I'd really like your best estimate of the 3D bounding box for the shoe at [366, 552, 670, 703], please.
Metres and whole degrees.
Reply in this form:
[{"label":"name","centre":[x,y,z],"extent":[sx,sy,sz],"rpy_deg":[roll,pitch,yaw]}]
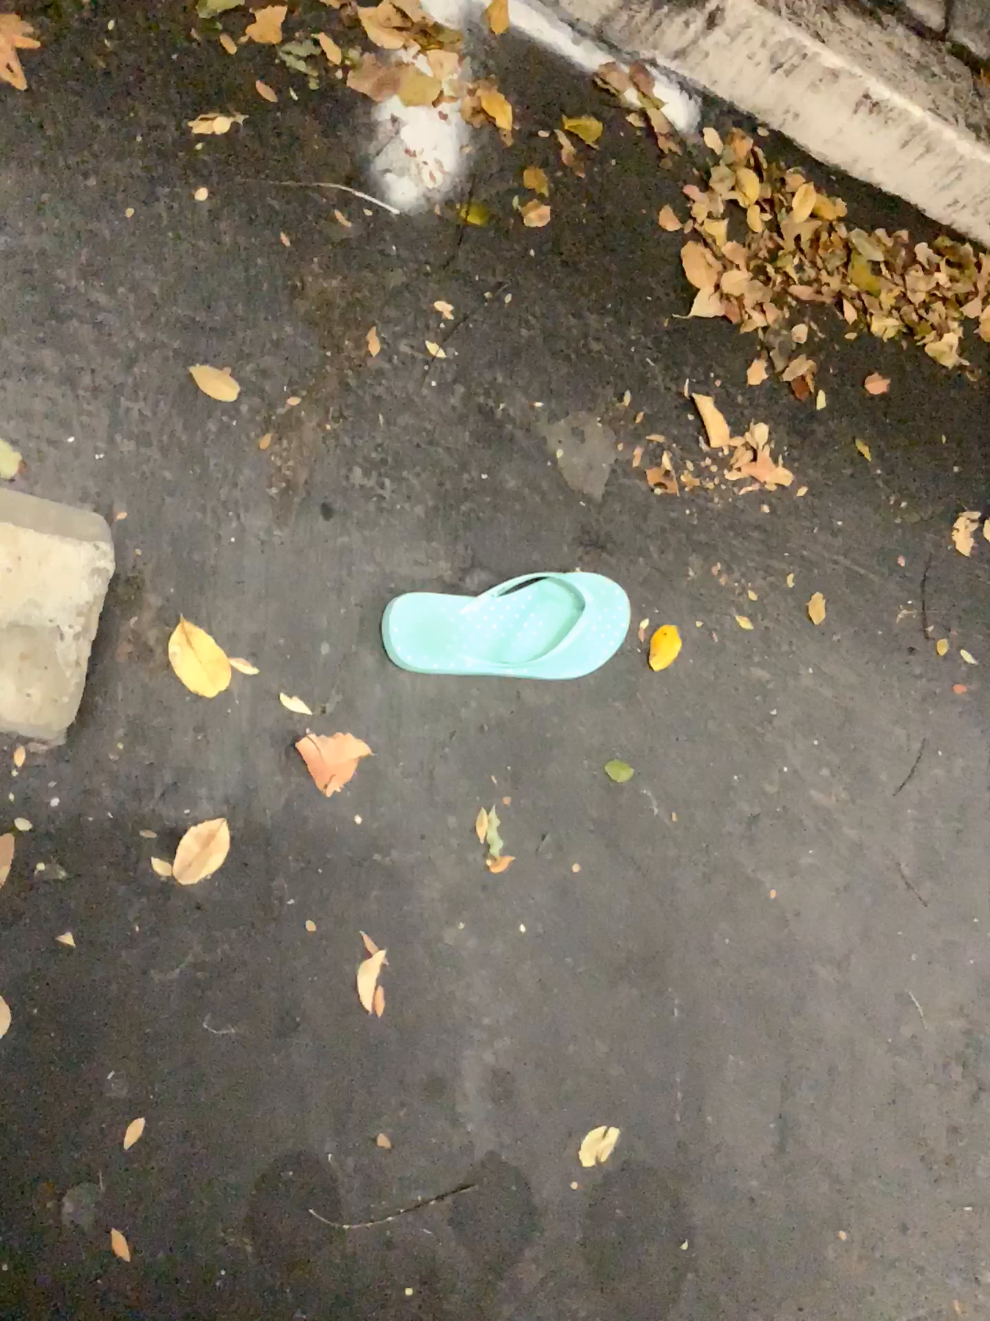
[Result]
[{"label":"shoe","centre":[0.027,-0.031,1.011],"extent":[0.280,0.050,0.120],"rpy_deg":[-2,75,-31]}]
